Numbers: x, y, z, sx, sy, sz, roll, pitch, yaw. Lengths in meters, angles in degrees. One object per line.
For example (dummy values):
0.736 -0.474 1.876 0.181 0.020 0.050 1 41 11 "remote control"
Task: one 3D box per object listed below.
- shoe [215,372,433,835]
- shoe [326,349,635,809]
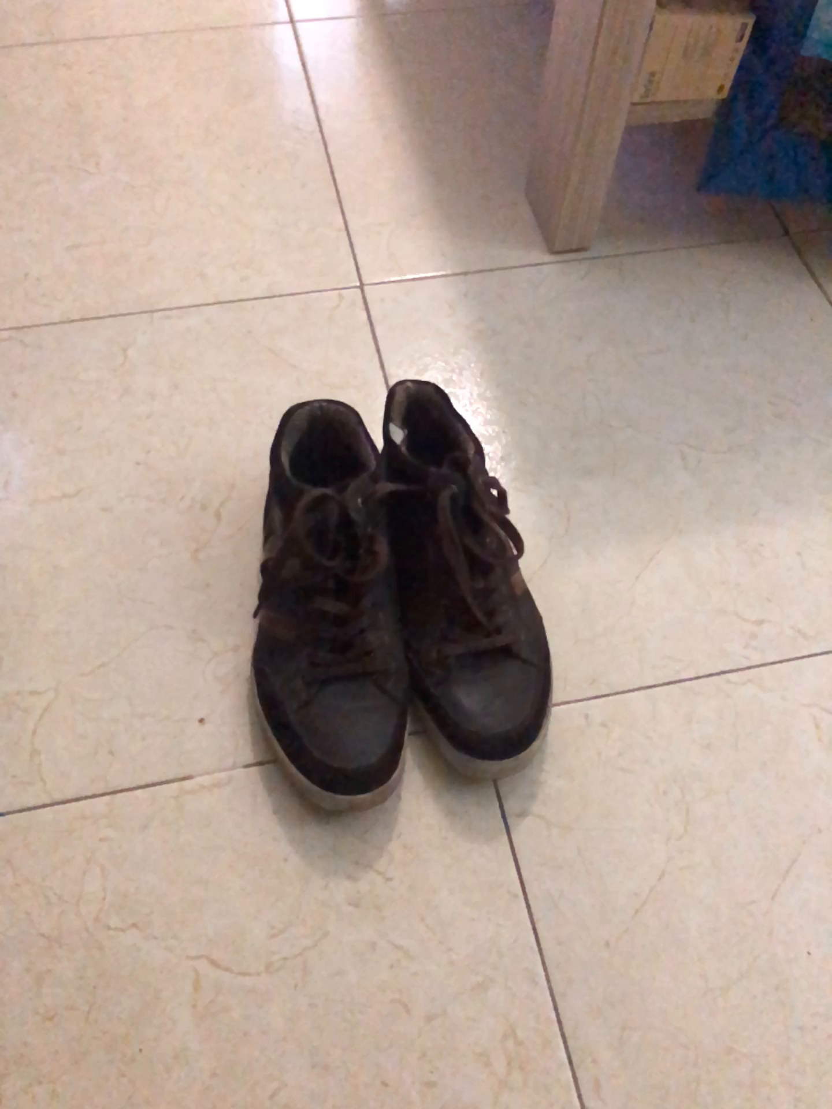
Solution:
-0.071 0.025 0.649 0.120 0.110 0.301 -5 59 -6 "shoe"
0.031 0.008 0.667 0.120 0.110 0.300 -13 60 -10 "shoe"
